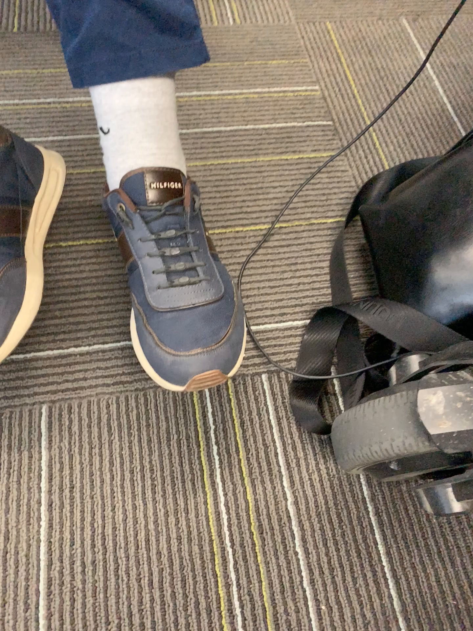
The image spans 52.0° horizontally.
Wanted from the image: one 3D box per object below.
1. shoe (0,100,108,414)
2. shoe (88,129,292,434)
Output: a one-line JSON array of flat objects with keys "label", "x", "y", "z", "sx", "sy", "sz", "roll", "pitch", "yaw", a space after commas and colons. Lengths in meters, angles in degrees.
[{"label": "shoe", "x": -0.244, "y": -0.076, "z": 0.499, "sx": 0.120, "sy": 0.100, "sz": 0.321, "roll": -15, "pitch": 47, "yaw": 20}, {"label": "shoe", "x": -0.060, "y": -0.055, "z": 0.478, "sx": 0.120, "sy": 0.100, "sz": 0.301, "roll": -13, "pitch": 51, "yaw": -11}]
